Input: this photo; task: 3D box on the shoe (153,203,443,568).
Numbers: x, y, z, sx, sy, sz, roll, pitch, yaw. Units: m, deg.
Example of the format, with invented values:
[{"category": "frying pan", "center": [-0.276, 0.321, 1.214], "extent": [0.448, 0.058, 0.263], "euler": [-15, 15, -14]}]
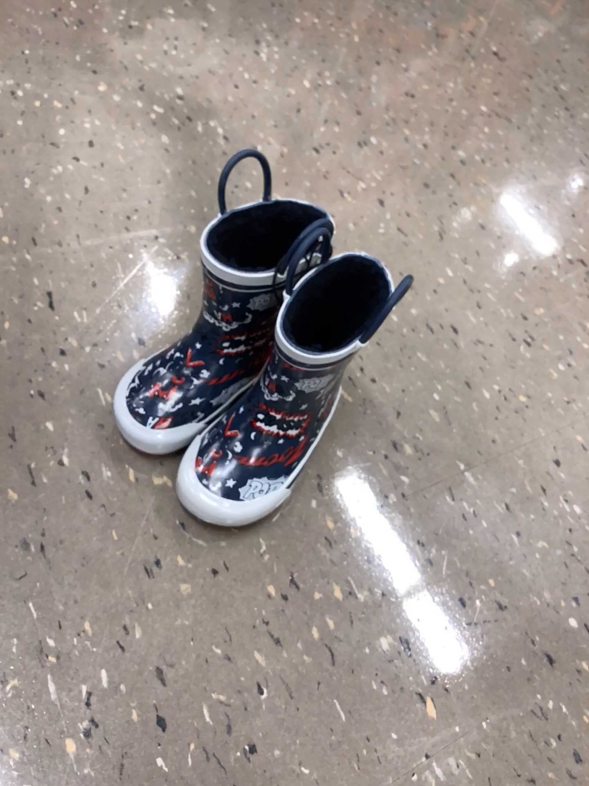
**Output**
[{"category": "shoe", "center": [-0.004, -0.001, 0.409], "extent": [0.080, 0.160, 0.150], "euler": [34, 54, 10]}]

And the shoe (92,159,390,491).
[{"category": "shoe", "center": [-0.041, -0.043, 0.442], "extent": [0.160, 0.160, 0.080], "euler": [-35, 70, -32]}]
